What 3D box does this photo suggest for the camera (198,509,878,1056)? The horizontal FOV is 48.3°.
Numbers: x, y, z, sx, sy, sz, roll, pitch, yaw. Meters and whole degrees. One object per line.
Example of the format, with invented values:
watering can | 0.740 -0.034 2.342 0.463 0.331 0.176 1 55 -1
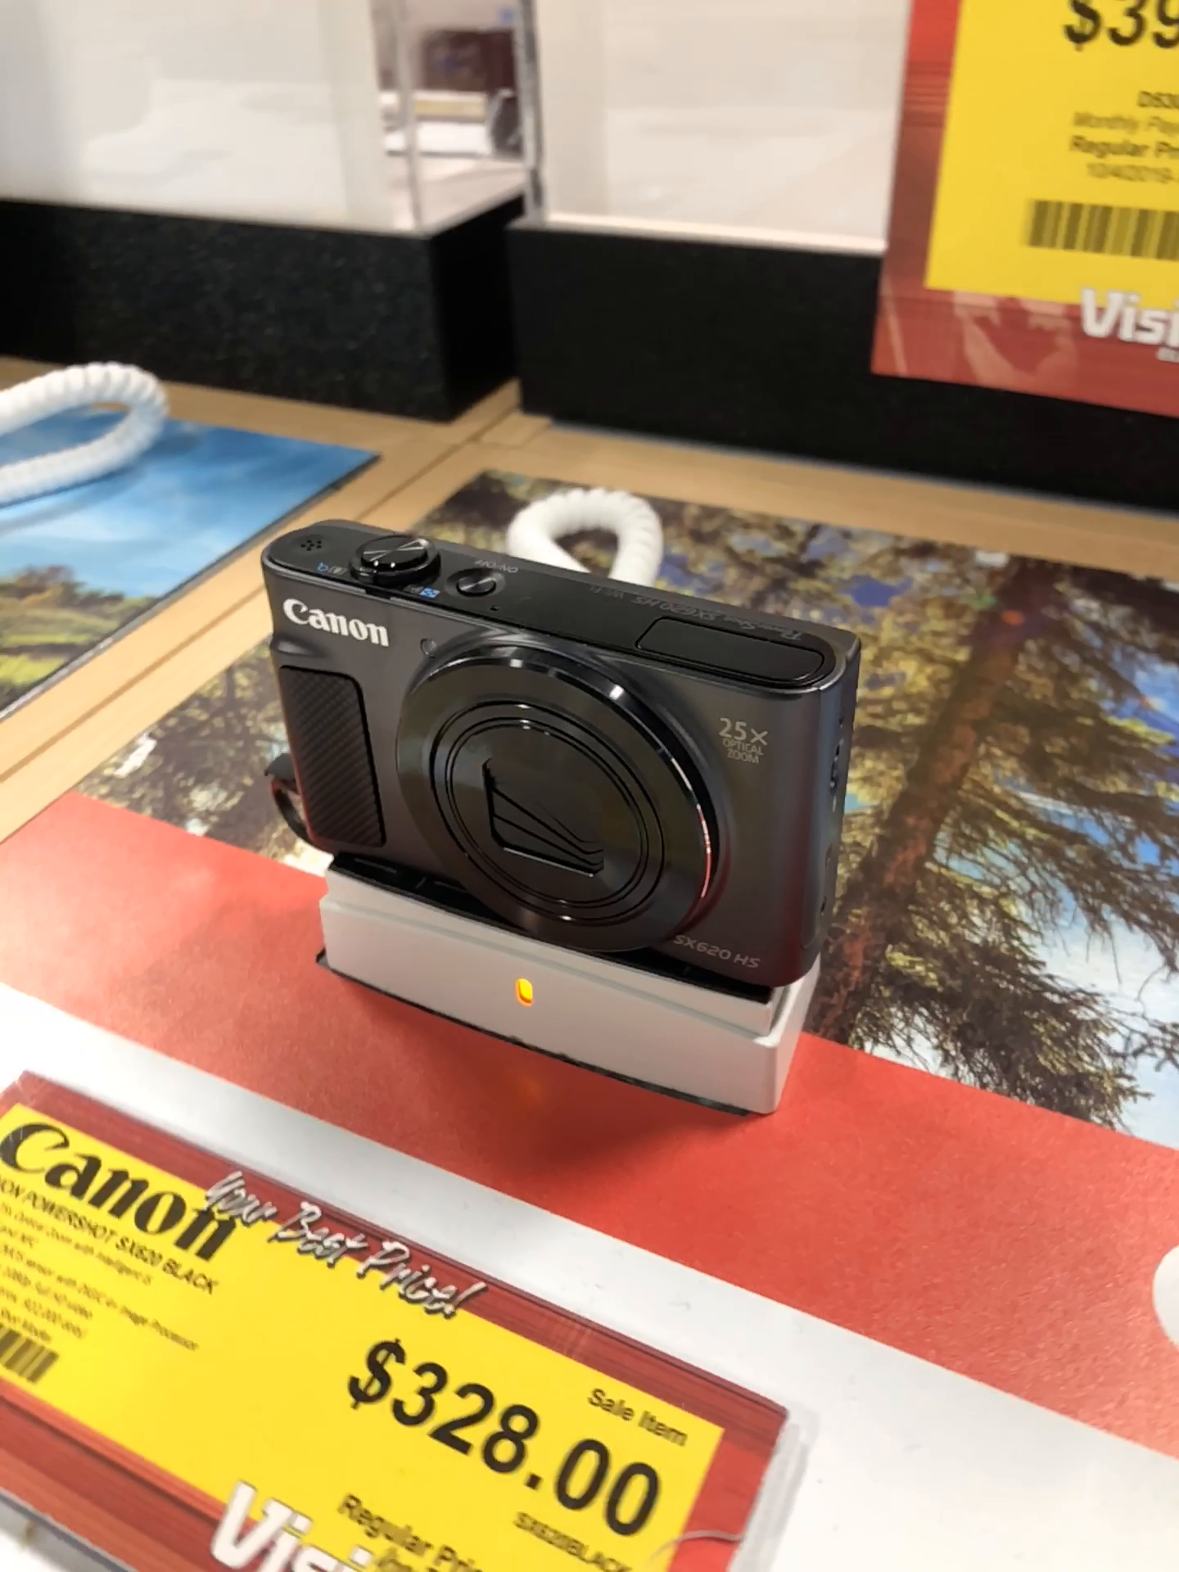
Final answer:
camera | -0.009 -0.003 0.214 0.100 0.060 0.030 16 40 24
